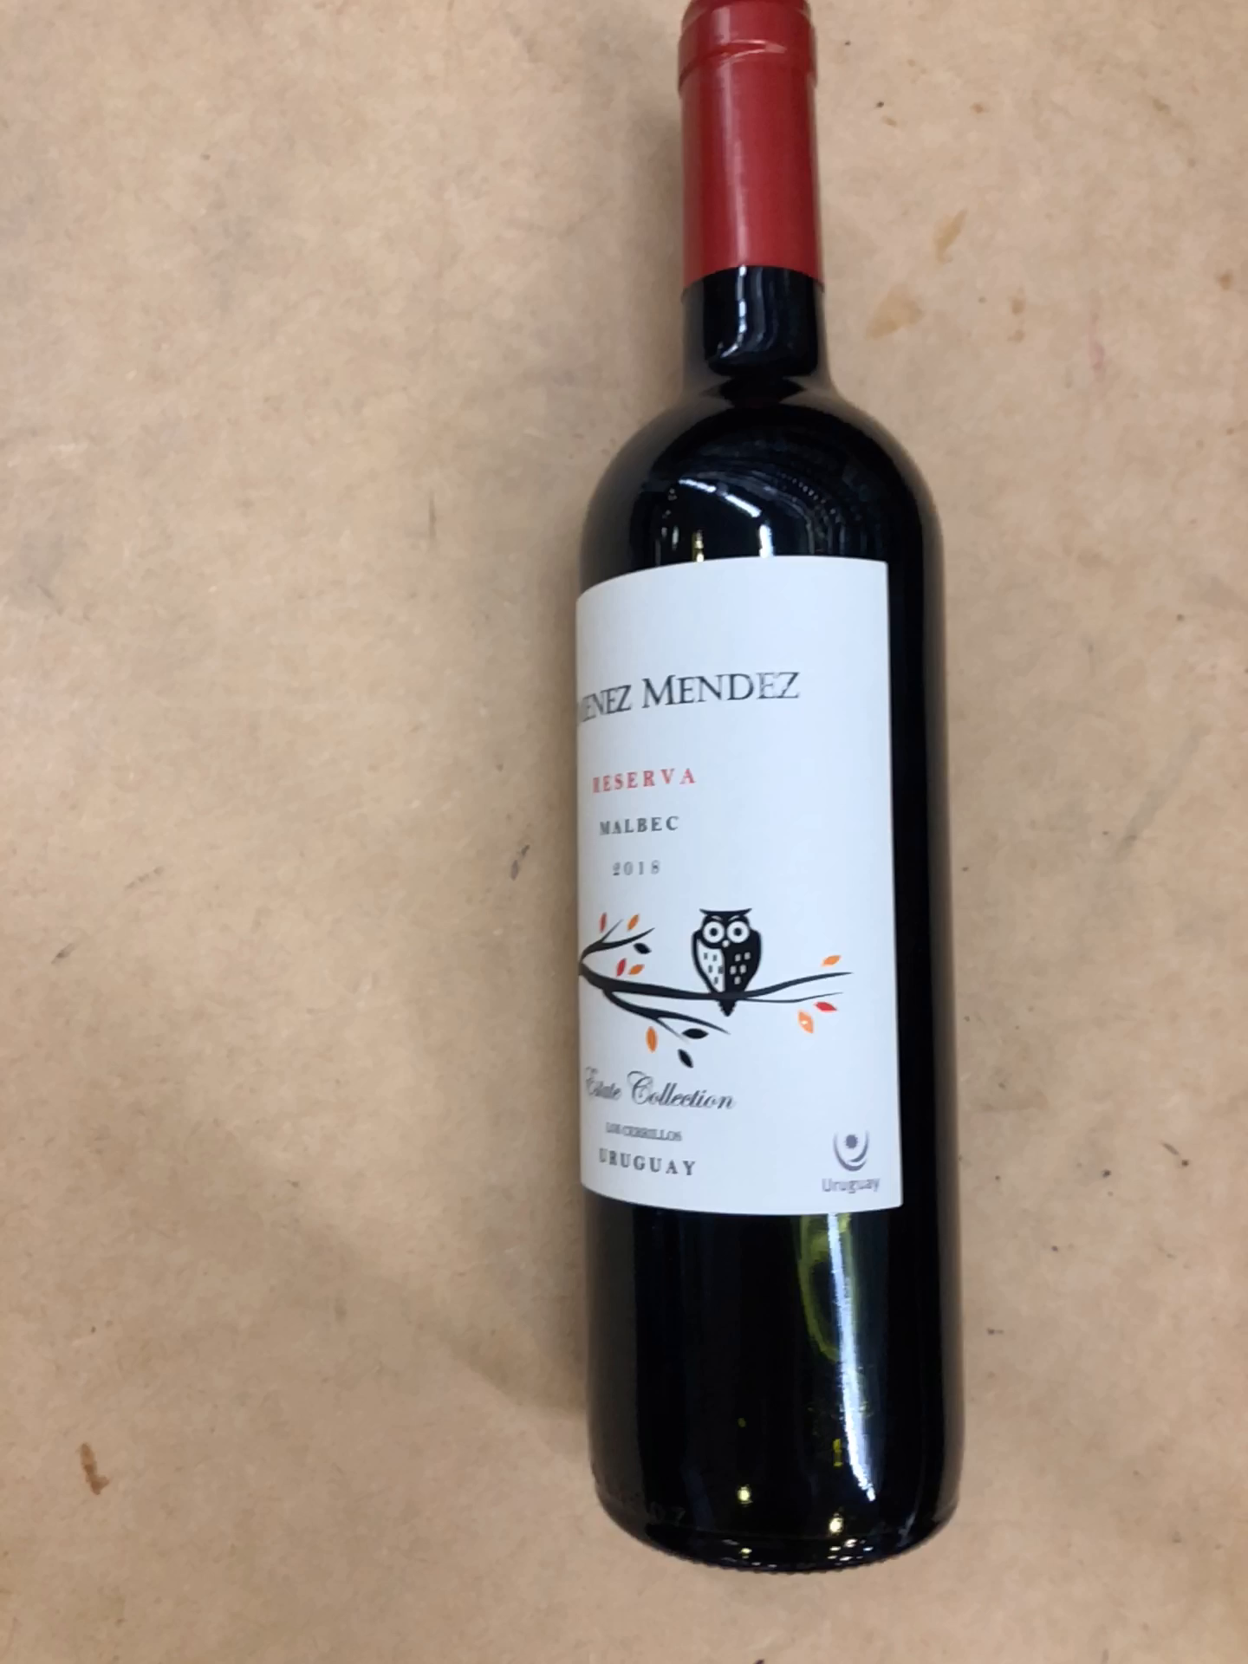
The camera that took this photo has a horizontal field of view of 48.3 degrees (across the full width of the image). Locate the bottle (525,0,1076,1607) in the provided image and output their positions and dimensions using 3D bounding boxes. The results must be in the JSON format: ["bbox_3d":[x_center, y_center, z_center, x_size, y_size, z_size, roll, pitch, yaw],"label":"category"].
[{"bbox_3d":[0.028,-0.033,0.263,0.080,0.060,0.310,-1,87,-12],"label":"bottle"}]
